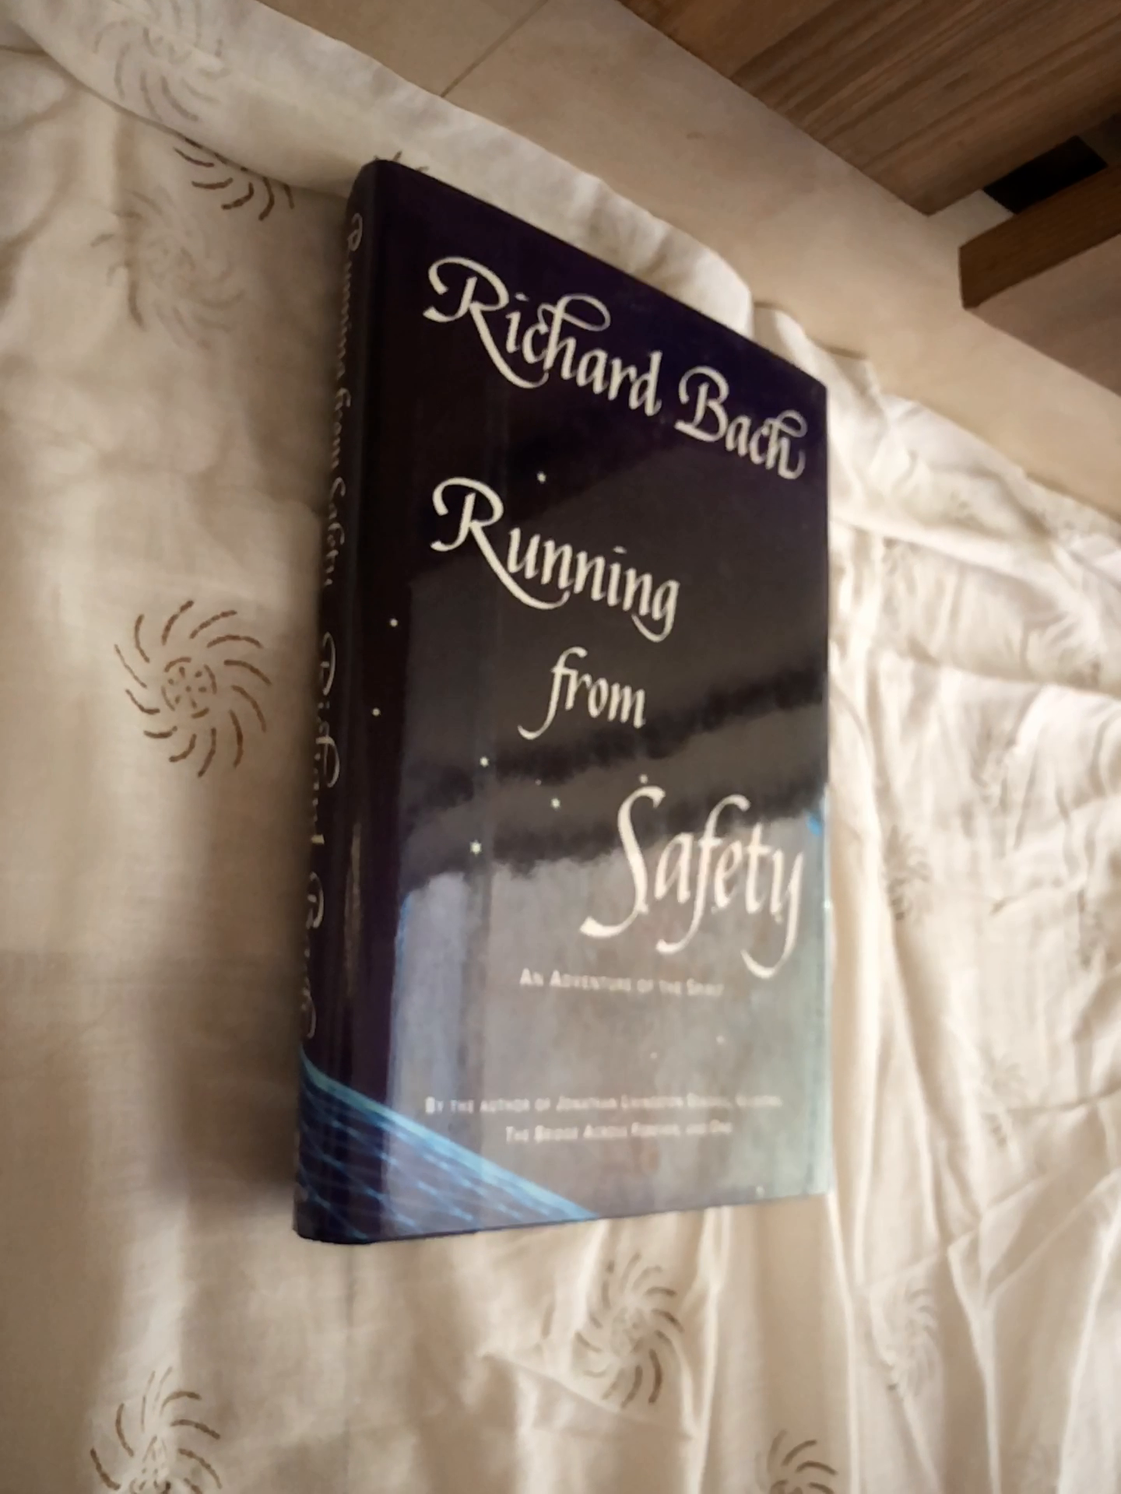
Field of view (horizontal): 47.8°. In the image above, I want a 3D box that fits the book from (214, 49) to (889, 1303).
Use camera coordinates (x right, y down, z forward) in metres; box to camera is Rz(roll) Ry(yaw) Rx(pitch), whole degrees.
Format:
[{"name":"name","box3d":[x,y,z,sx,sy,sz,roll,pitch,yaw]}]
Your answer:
[{"name":"book","box3d":[0.013,-0.009,0.311,0.171,0.040,0.250,17,69,-43]}]
